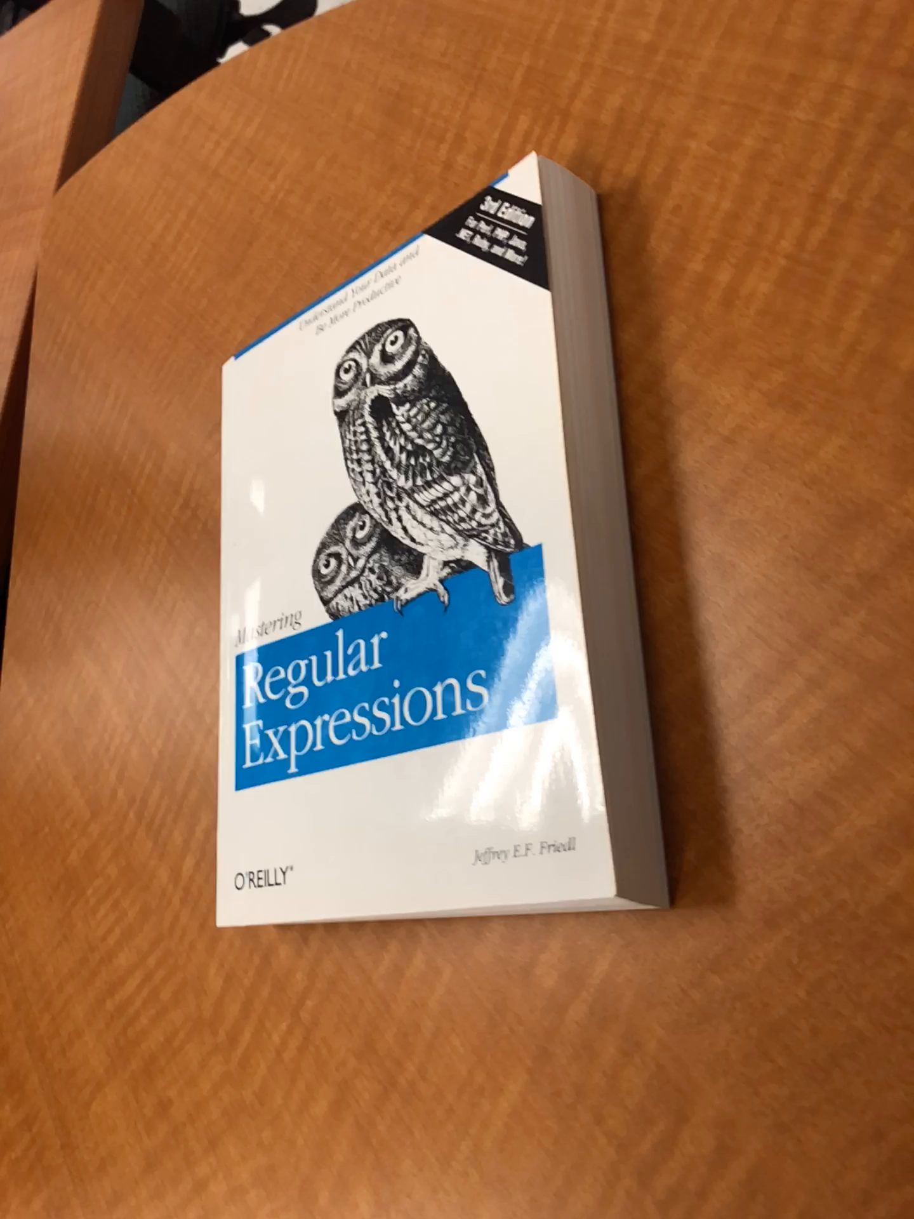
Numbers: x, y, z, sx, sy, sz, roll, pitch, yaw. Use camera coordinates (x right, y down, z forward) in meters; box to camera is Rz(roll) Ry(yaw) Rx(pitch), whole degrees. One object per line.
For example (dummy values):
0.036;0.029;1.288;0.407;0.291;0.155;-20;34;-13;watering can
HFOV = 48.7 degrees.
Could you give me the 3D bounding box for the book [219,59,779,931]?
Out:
-0.006;-0.025;0.362;0.201;0.040;0.260;-17;68;39;book
